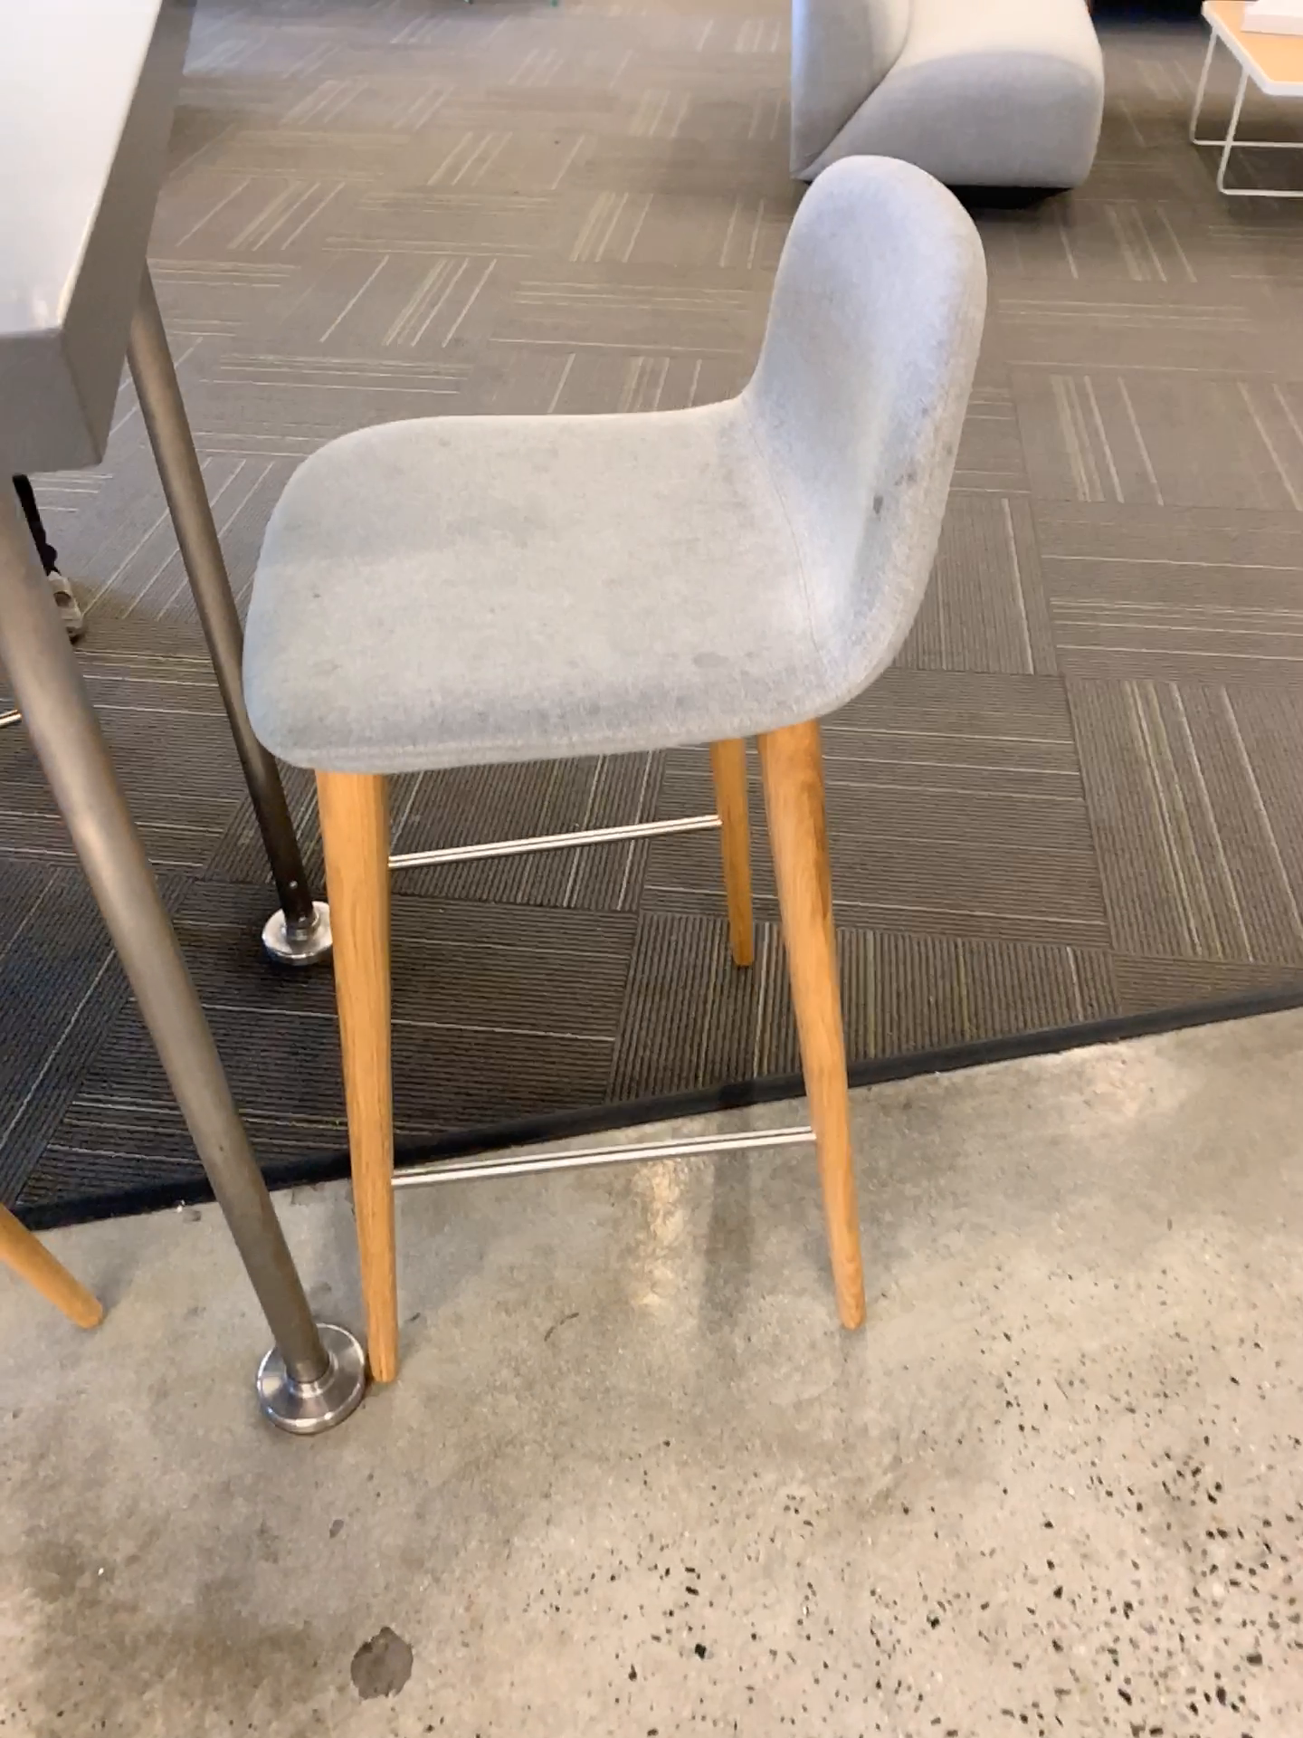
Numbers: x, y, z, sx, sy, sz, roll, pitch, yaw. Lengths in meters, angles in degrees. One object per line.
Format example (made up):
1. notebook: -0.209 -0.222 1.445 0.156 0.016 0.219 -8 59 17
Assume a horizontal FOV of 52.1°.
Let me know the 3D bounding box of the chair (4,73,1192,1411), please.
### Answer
1. chair: -0.053 -0.074 1.142 0.550 0.925 0.594 -6 43 -6
